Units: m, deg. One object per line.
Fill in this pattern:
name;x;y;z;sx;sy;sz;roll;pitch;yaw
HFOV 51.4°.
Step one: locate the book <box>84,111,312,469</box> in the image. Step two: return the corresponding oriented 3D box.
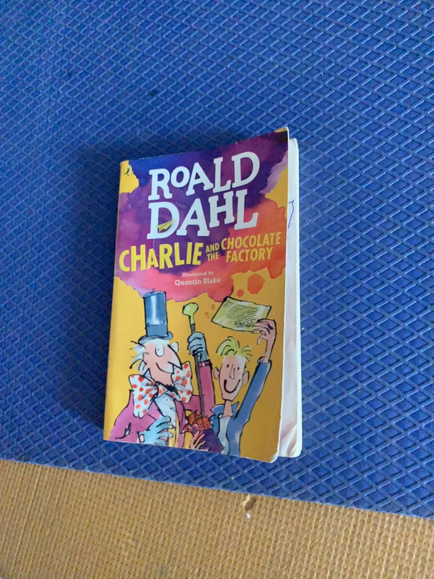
book;-0.012;-0.004;0.292;0.140;0.020;0.210;-2;79;18
